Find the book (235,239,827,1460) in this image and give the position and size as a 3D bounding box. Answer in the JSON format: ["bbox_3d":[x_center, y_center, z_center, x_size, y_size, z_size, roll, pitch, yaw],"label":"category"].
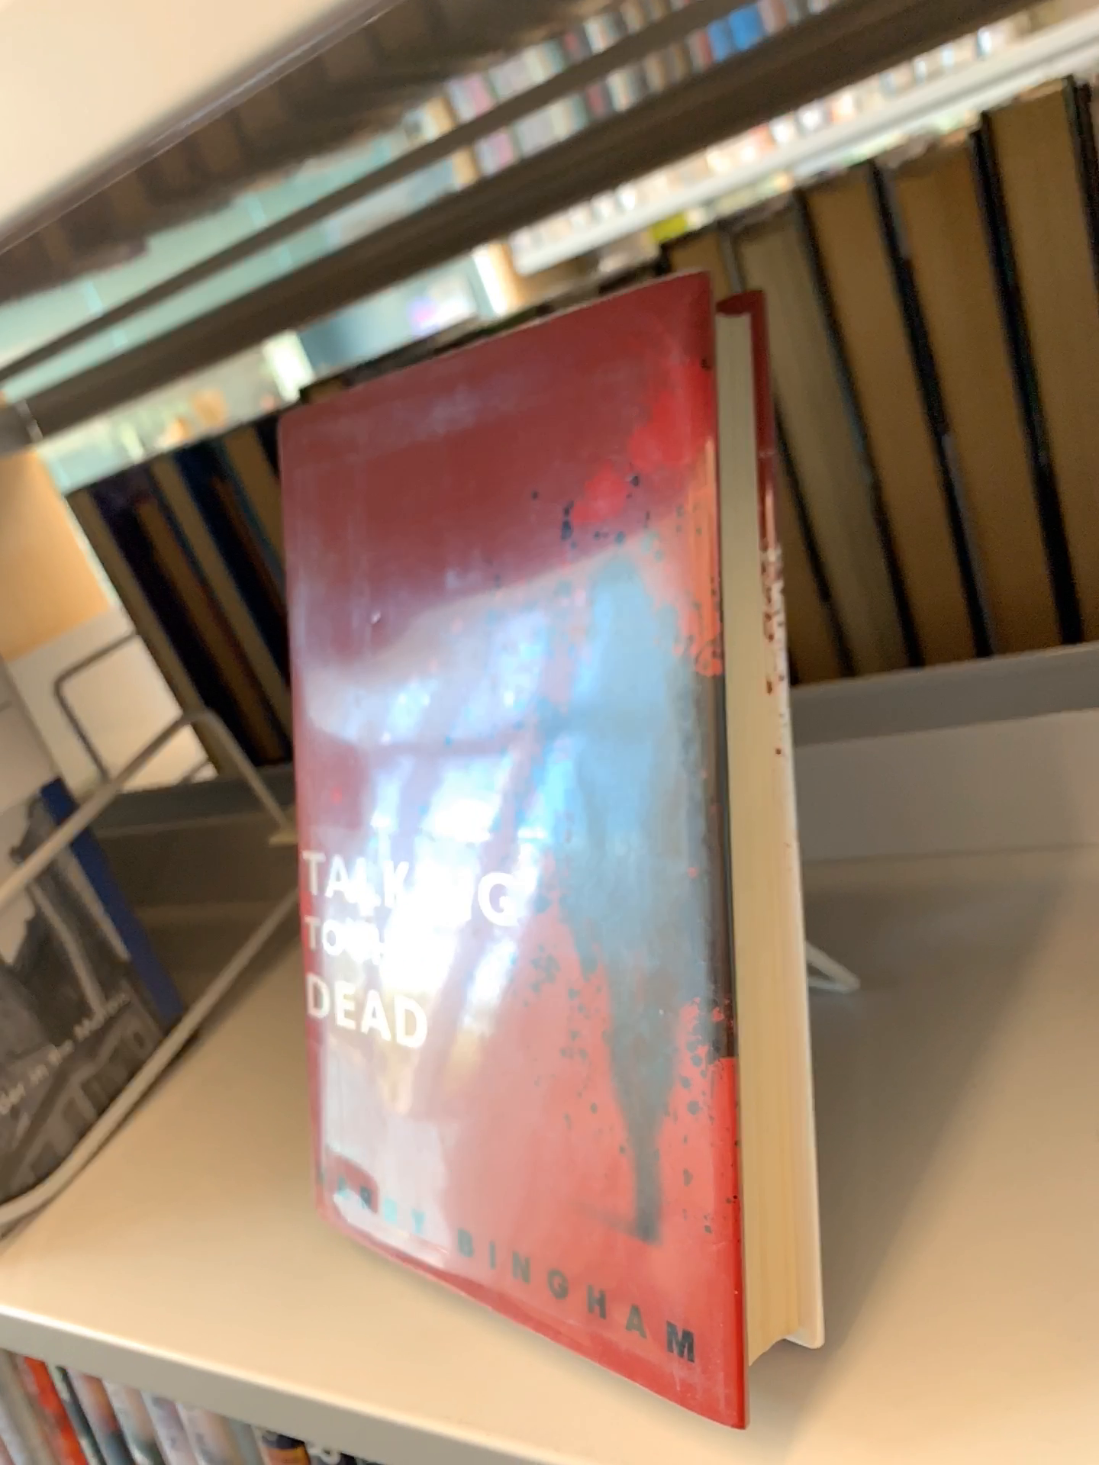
[{"bbox_3d":[-0.016,0.023,0.292,0.040,0.231,0.164,-2,0,-44],"label":"book"}]
